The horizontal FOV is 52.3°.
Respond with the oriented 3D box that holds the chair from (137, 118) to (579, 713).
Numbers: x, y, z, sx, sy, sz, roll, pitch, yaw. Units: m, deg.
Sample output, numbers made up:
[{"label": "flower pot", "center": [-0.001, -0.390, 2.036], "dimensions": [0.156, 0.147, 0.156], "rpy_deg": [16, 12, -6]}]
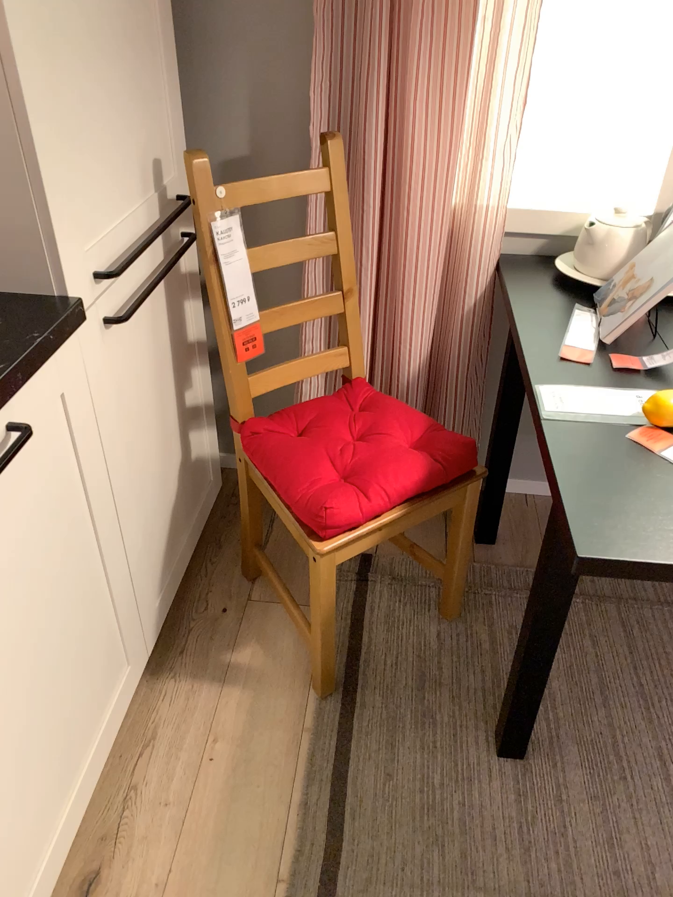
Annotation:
[{"label": "chair", "center": [0.006, -0.076, 1.466], "dimensions": [0.501, 1.014, 0.582], "rpy_deg": [-23, 43, -30]}]
